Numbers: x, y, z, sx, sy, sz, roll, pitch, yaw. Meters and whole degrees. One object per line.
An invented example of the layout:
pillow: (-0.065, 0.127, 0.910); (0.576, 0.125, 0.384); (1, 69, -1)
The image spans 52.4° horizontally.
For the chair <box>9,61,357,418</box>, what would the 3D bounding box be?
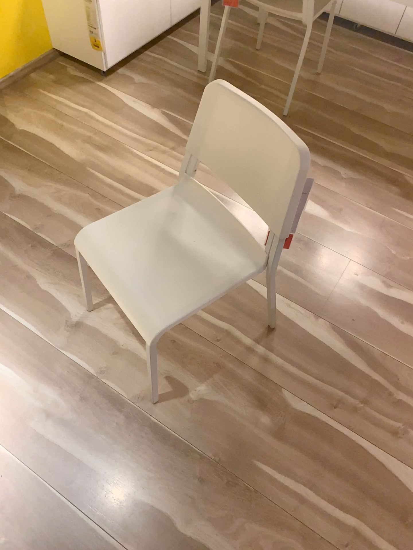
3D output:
chair: (-0.073, -0.066, 1.202); (0.550, 0.708, 0.521); (-32, 64, -23)
